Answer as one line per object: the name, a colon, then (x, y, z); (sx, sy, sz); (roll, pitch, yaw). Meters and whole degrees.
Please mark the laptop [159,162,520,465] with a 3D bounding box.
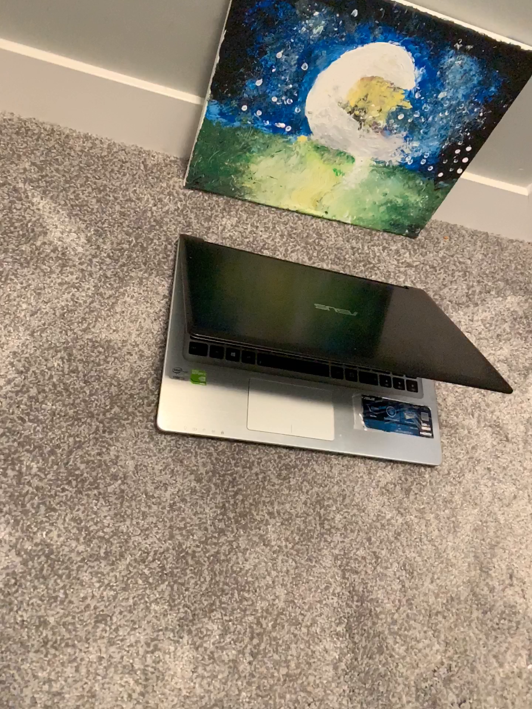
laptop: (0.078, -0.032, 0.624); (0.355, 0.133, 0.253); (10, 63, -17)
